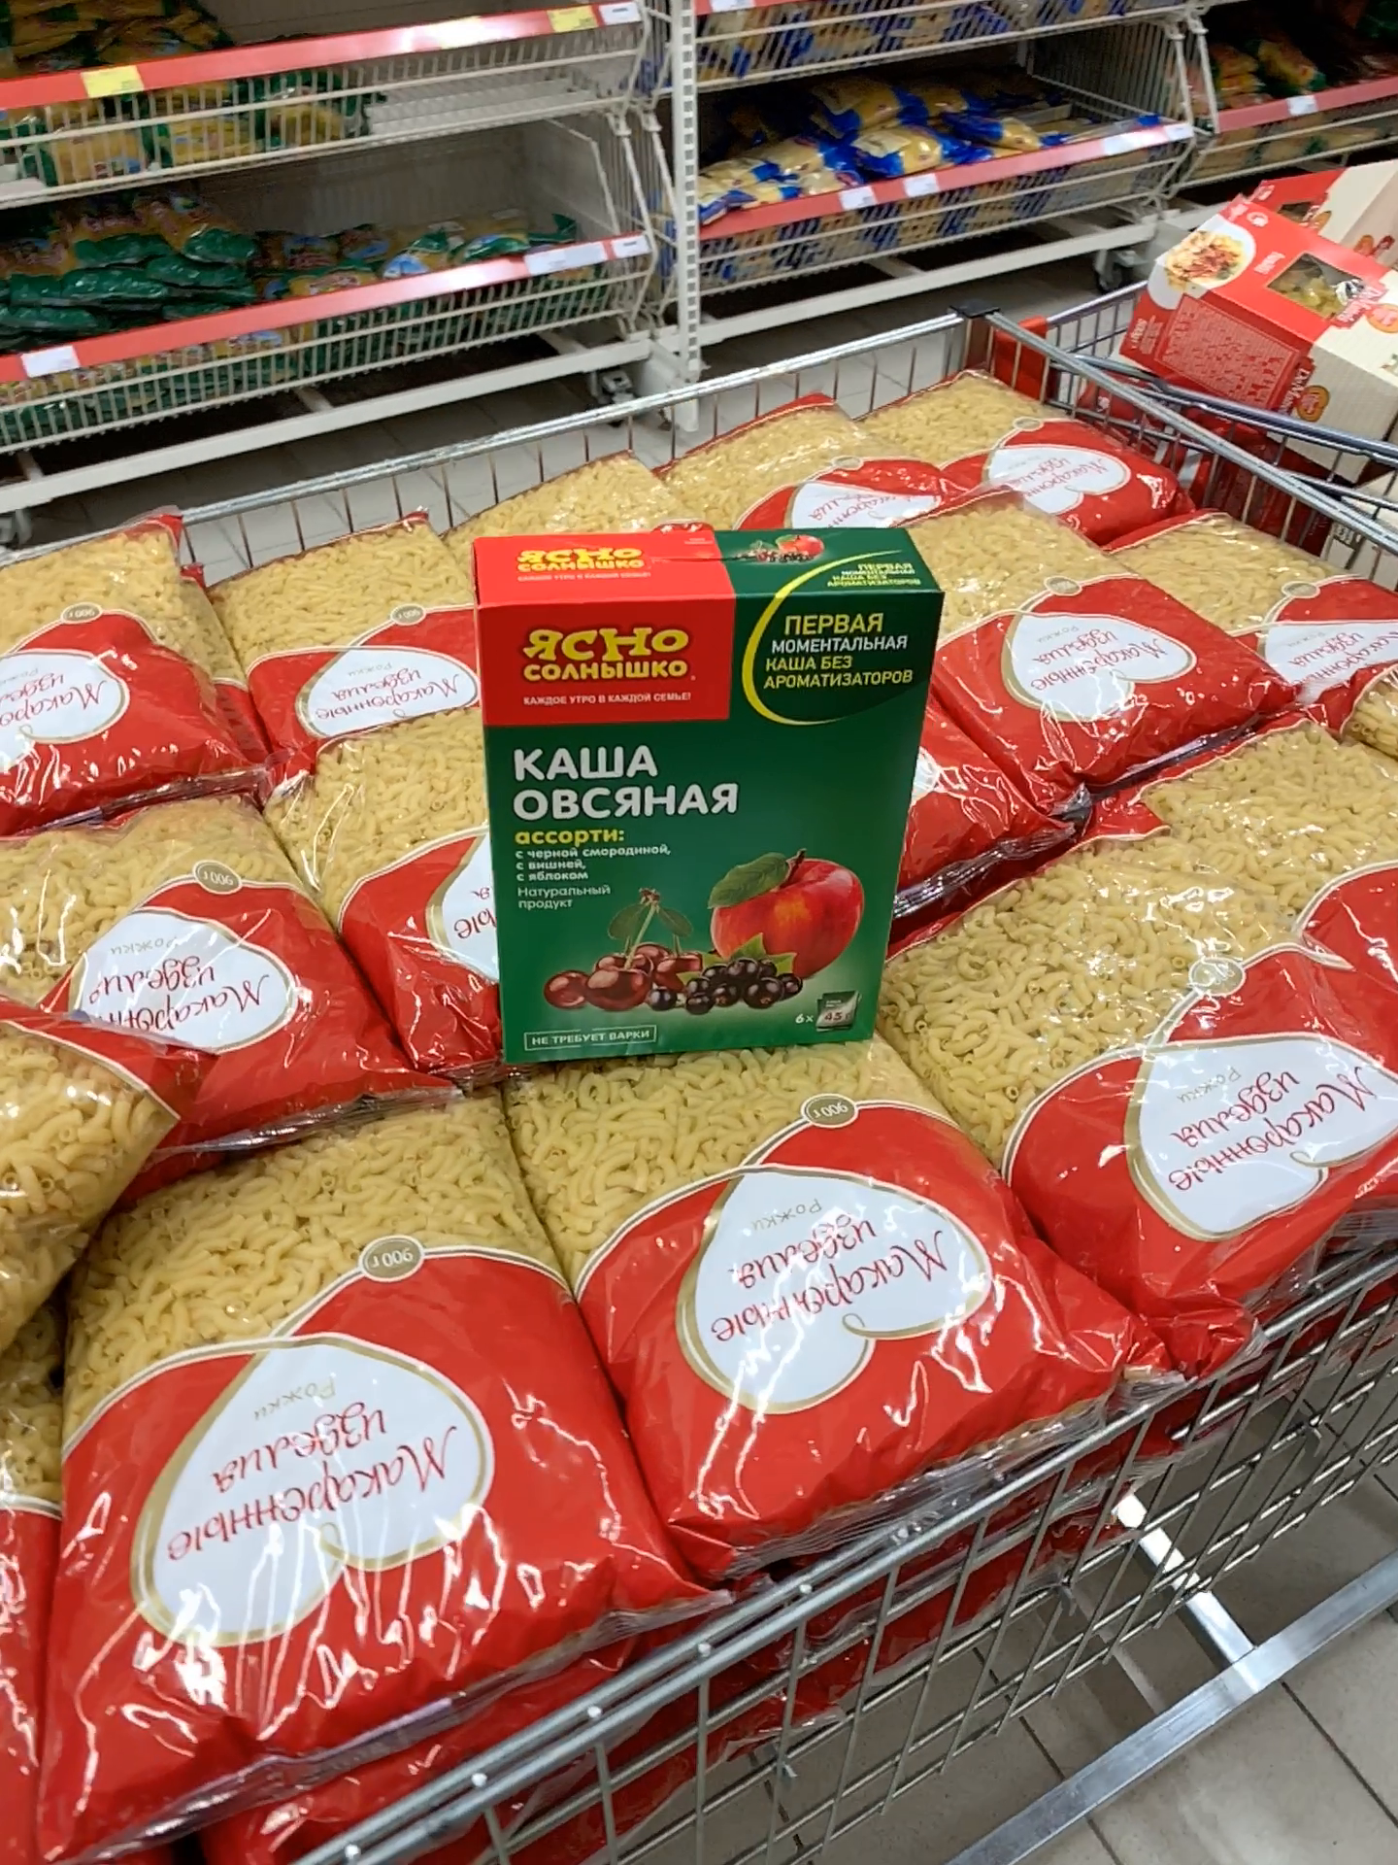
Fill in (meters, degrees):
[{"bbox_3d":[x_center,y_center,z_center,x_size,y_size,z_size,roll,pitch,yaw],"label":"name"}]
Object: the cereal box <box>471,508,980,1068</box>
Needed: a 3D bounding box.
[{"bbox_3d":[0.003,-0.048,0.530,0.160,0.198,0.061,-3,39,-8],"label":"cereal box"}]
